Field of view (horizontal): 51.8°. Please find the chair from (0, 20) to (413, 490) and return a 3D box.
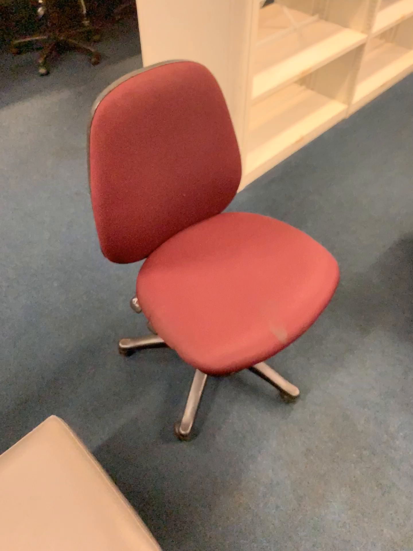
[{"bbox_3d":[0.031,-0.052,1.116,0.652,0.783,0.693,-33,58,-24],"label":"chair"}]
